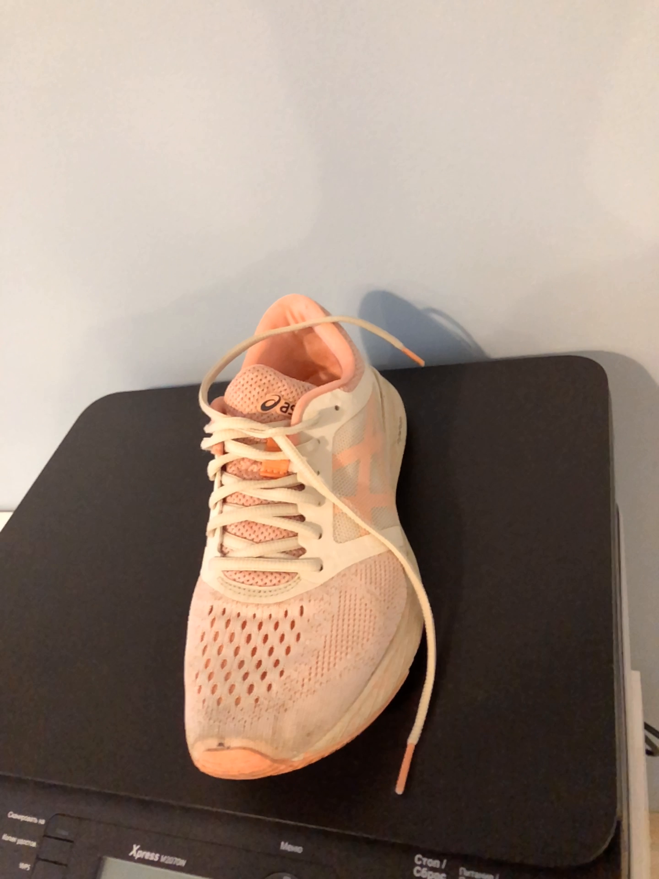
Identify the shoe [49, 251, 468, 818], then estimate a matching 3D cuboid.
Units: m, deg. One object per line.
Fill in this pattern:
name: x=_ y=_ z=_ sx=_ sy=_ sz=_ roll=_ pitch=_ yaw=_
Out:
shoe: x=-0.007 y=0.025 z=0.352 sx=0.116 sy=0.089 sz=0.255 roll=-5 pitch=43 yaw=20
